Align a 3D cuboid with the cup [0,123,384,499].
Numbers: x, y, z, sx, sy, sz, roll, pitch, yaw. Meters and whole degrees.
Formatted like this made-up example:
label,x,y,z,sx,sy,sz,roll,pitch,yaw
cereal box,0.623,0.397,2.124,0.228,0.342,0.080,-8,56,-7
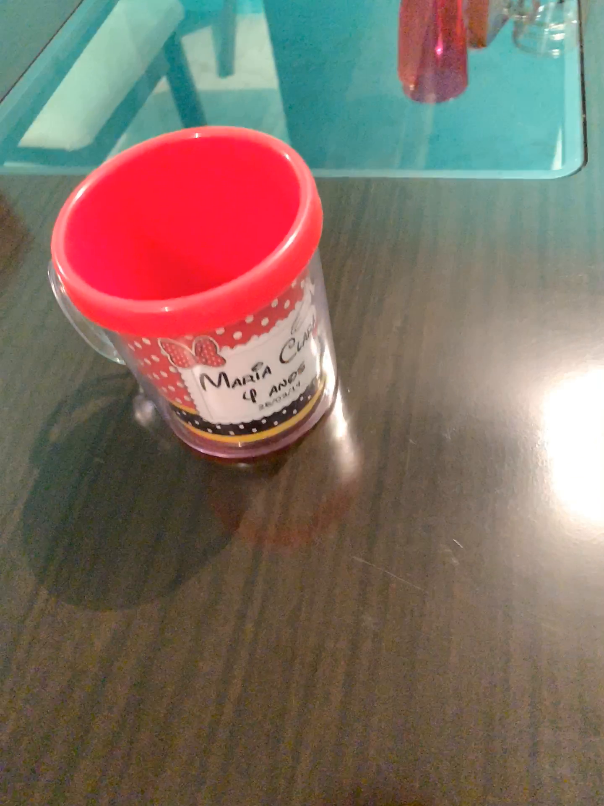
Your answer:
label,x,y,z,sx,sy,sz,roll,pitch,yaw
cup,-0.035,-0.033,0.250,0.120,0.110,0.090,4,57,13
